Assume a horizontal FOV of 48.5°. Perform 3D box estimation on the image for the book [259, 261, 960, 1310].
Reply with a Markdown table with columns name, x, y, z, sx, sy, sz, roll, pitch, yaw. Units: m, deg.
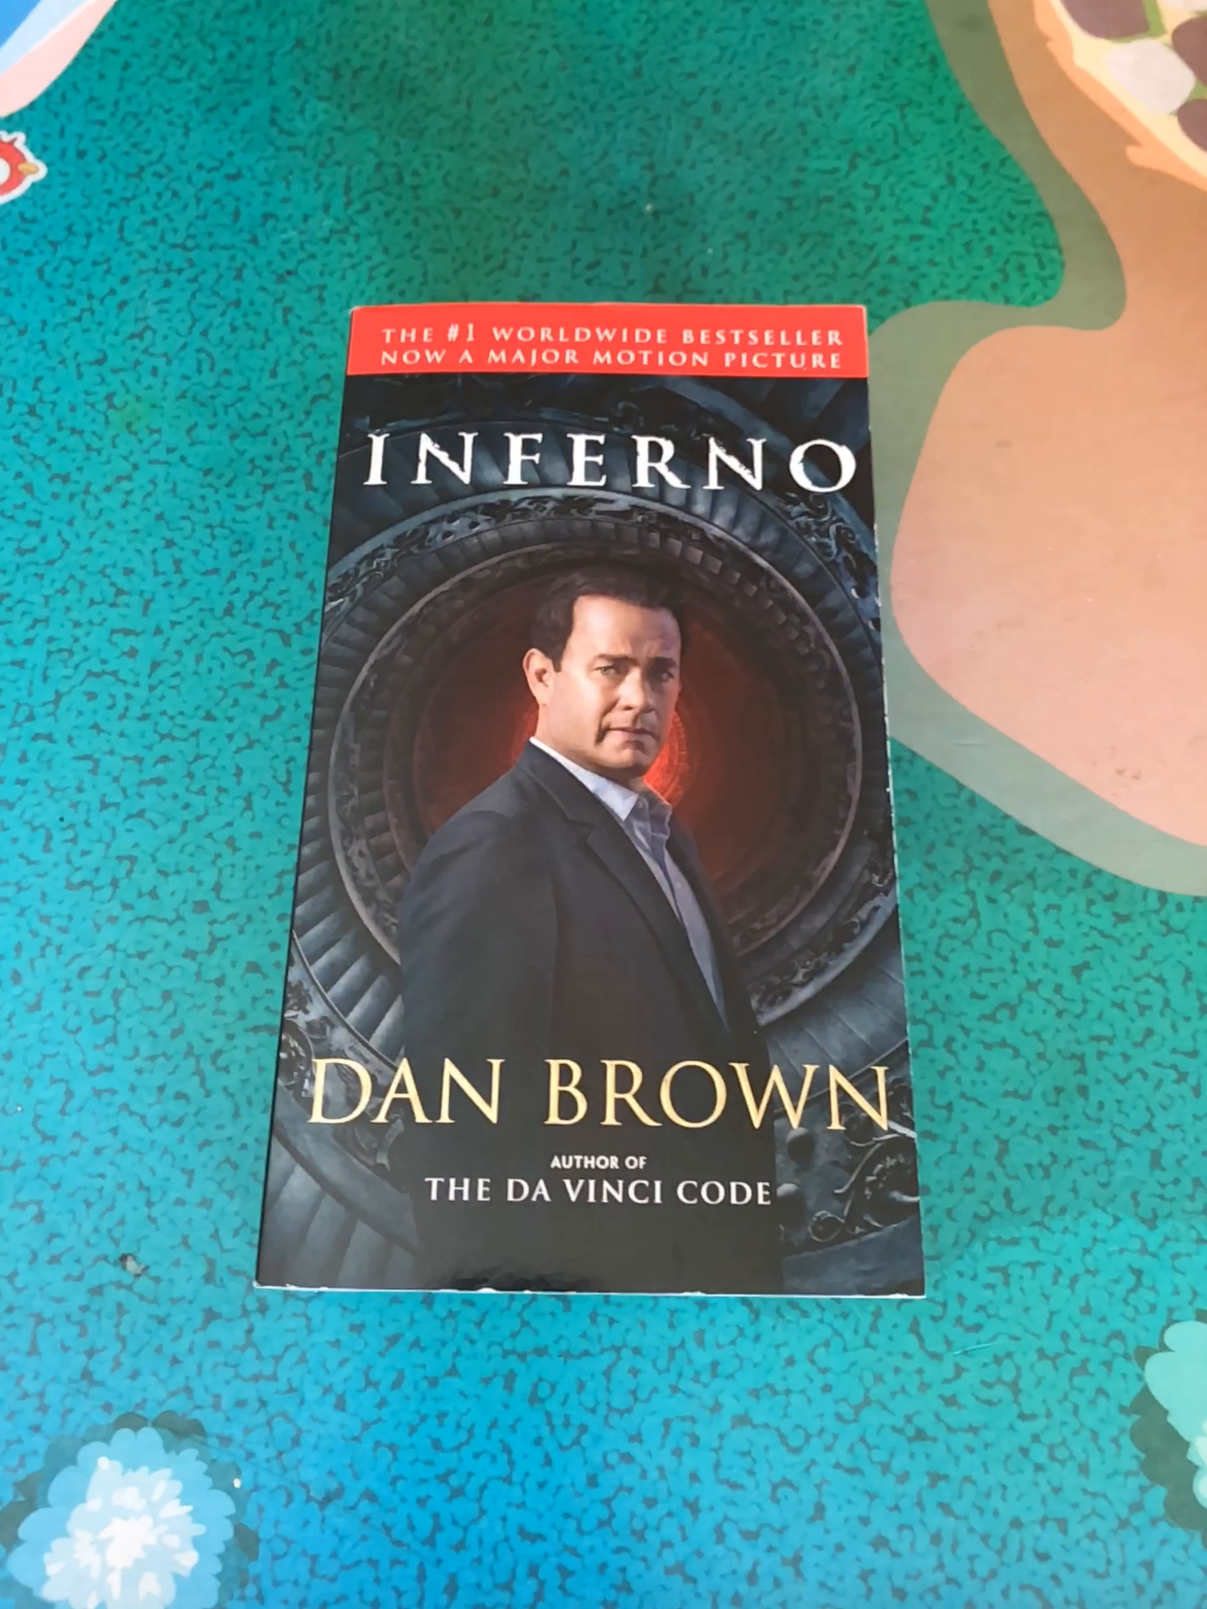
| name | x | y | z | sx | sy | sz | roll | pitch | yaw |
| --- | --- | --- | --- | --- | --- | --- | --- | --- | --- |
| book | 0.002 | -0.006 | 0.272 | 0.110 | 0.060 | 0.201 | 1 | 70 | -1 |
